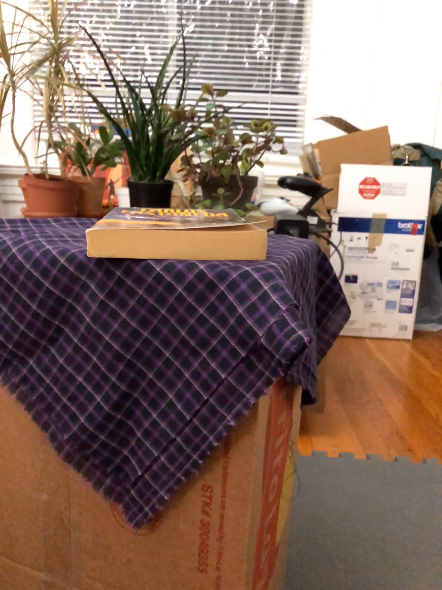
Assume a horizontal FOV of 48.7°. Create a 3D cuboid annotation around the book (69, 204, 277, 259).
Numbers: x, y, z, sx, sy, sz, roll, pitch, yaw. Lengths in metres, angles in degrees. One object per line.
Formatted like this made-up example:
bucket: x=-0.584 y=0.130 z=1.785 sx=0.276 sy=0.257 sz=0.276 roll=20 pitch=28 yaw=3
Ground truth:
book: x=-0.044 y=-0.066 z=0.464 sx=0.150 sy=0.020 sz=0.221 roll=0 pitch=15 yaw=-6
